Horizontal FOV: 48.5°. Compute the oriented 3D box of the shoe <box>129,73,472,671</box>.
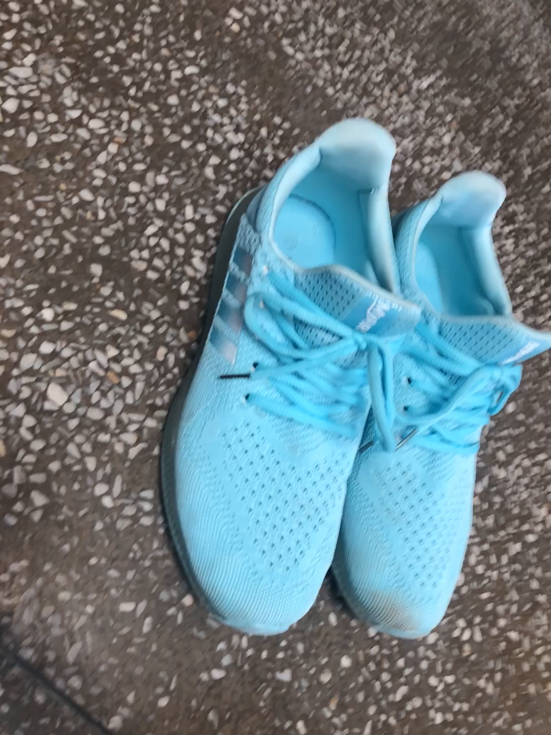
[{"bbox_3d":[0.018,0.007,0.344,0.120,0.125,0.271,15,69,-22],"label":"shoe"}]

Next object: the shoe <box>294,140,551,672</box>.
[{"bbox_3d":[0.105,0.028,0.381,0.120,0.125,0.271,14,70,-23],"label":"shoe"}]
